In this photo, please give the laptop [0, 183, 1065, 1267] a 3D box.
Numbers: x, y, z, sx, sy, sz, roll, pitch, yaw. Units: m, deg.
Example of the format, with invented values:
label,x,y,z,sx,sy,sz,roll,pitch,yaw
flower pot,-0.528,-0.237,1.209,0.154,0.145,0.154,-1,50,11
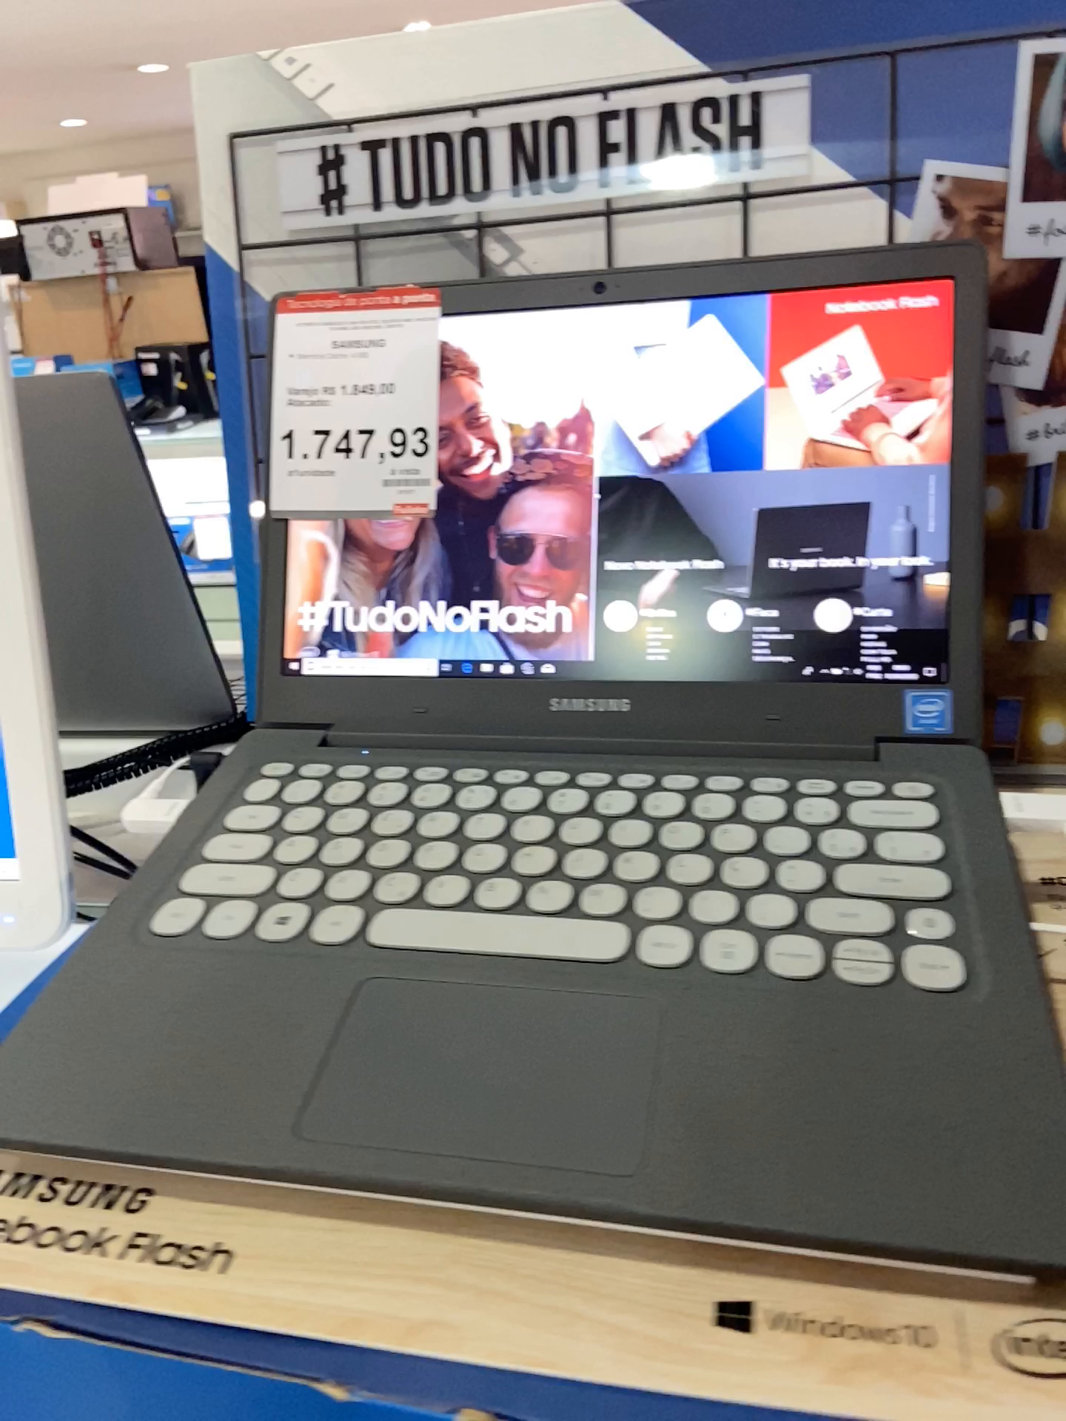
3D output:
label,x,y,z,sx,sy,sz,roll,pitch,yaw
laptop,0.004,-0.049,0.401,0.322,0.181,0.346,0,30,14
